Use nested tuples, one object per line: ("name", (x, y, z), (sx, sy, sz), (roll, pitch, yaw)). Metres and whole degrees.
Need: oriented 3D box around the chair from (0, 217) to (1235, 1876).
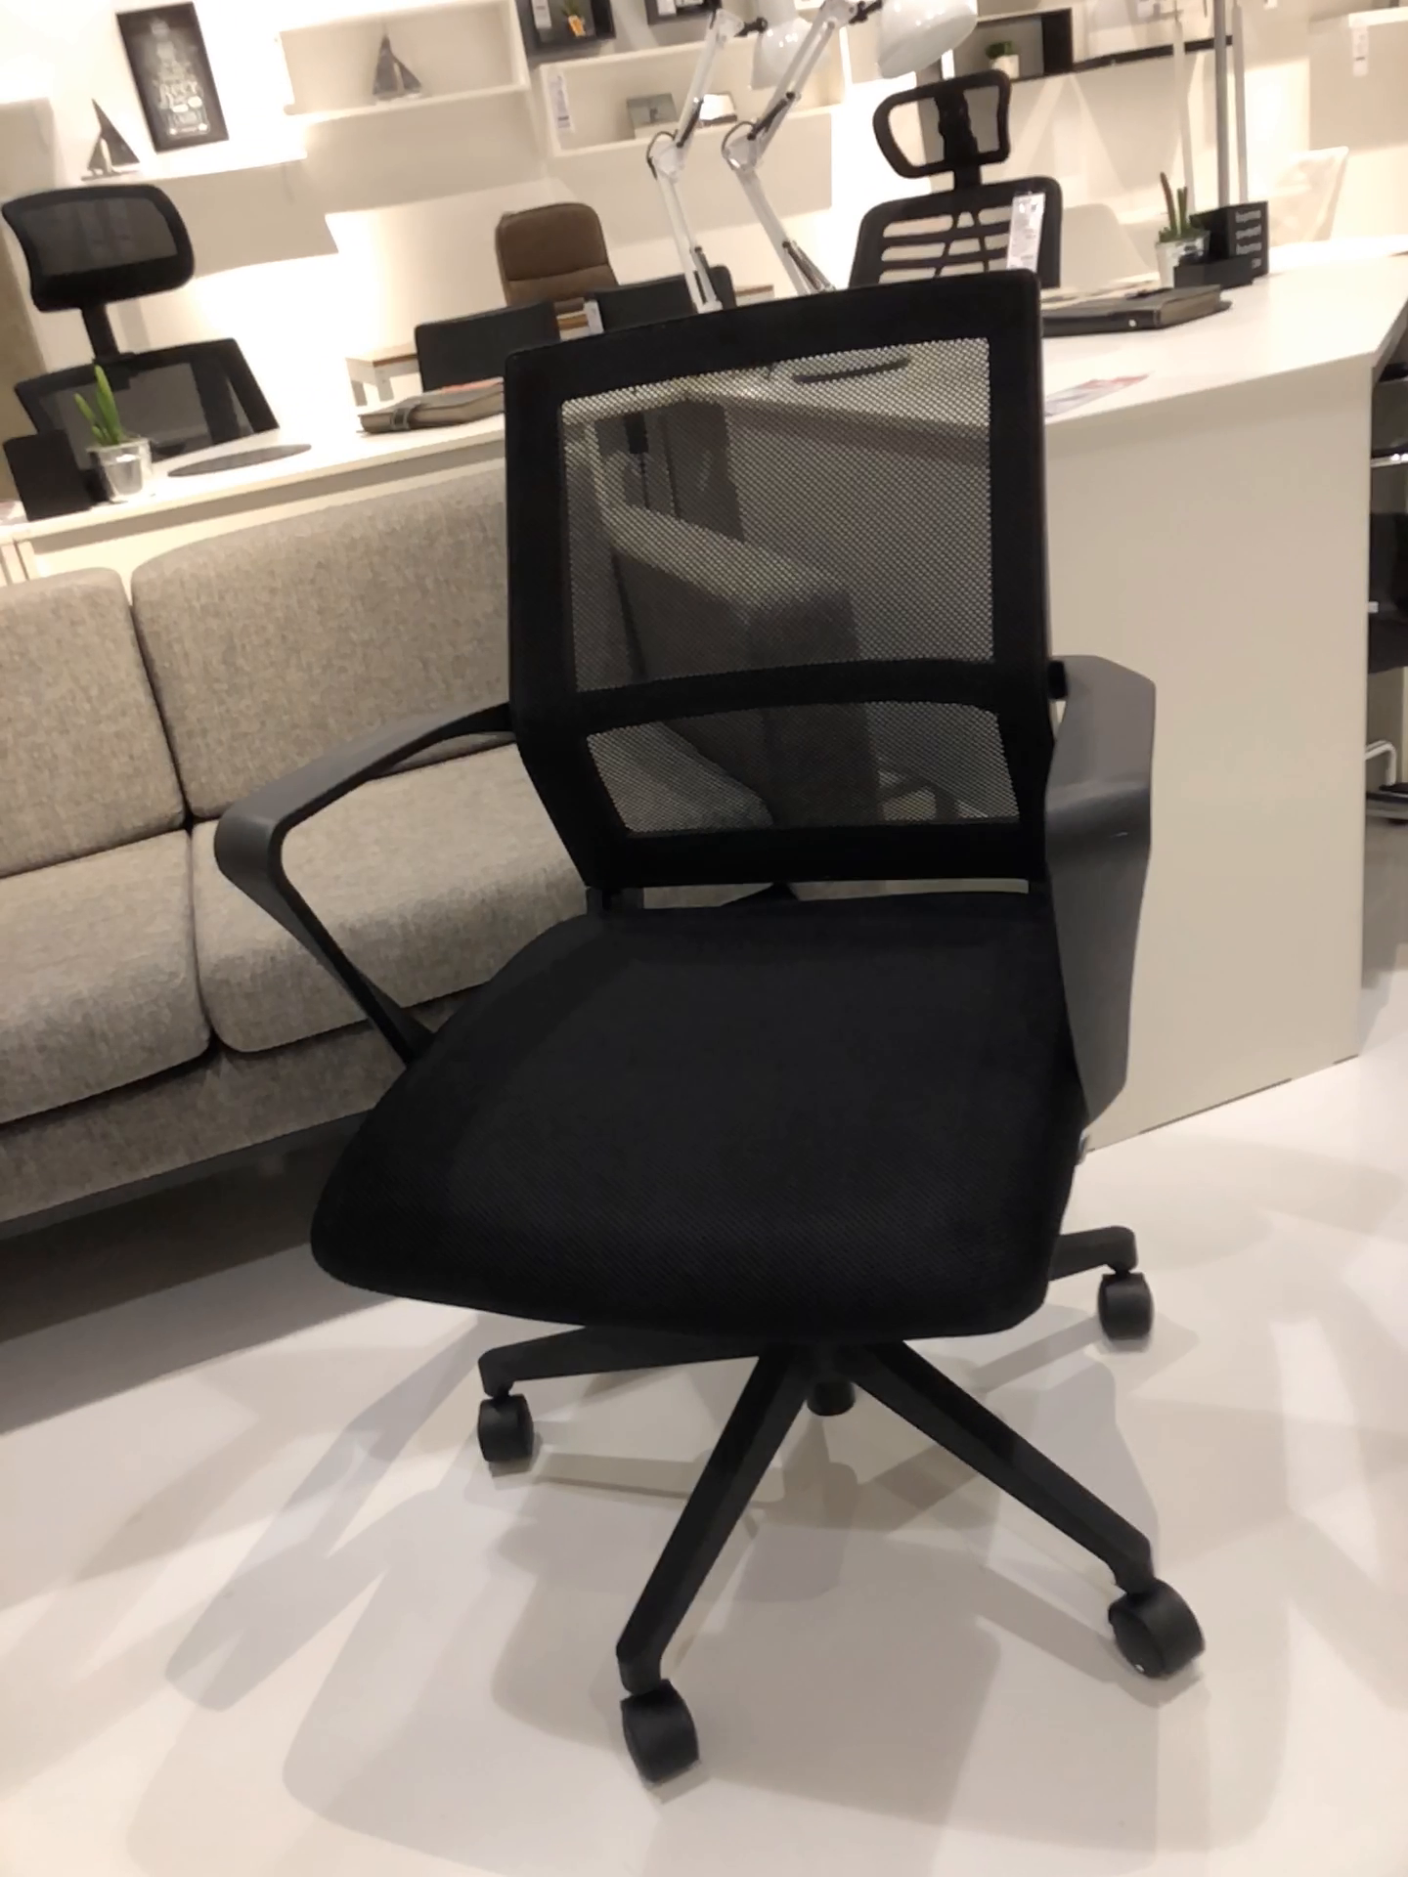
("chair", (0.014, 0.046, 1.148), (0.680, 0.934, 0.634), (-1, 25, 21))
